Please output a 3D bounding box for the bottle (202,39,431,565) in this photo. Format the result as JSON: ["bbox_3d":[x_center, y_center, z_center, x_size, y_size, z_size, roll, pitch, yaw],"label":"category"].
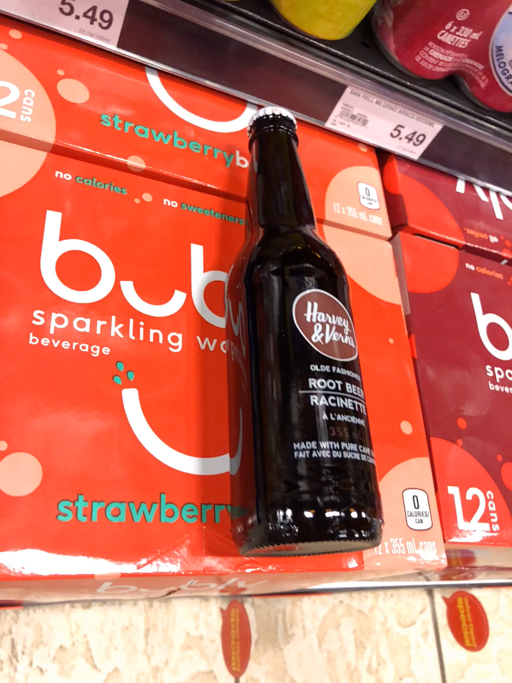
[{"bbox_3d":[0.016,-0.022,0.267,0.060,0.070,0.230,10,63,-25],"label":"bottle"}]
